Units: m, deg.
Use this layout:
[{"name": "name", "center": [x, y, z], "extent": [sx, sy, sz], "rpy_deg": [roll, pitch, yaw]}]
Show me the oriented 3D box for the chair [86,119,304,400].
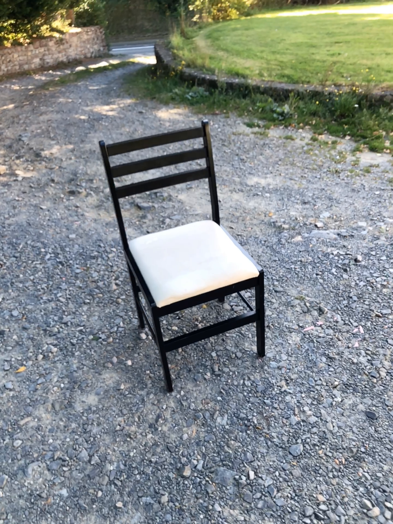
[{"name": "chair", "center": [-0.017, -0.035, 1.614], "extent": [0.541, 0.775, 0.532], "rpy_deg": [-16, 36, -19]}]
